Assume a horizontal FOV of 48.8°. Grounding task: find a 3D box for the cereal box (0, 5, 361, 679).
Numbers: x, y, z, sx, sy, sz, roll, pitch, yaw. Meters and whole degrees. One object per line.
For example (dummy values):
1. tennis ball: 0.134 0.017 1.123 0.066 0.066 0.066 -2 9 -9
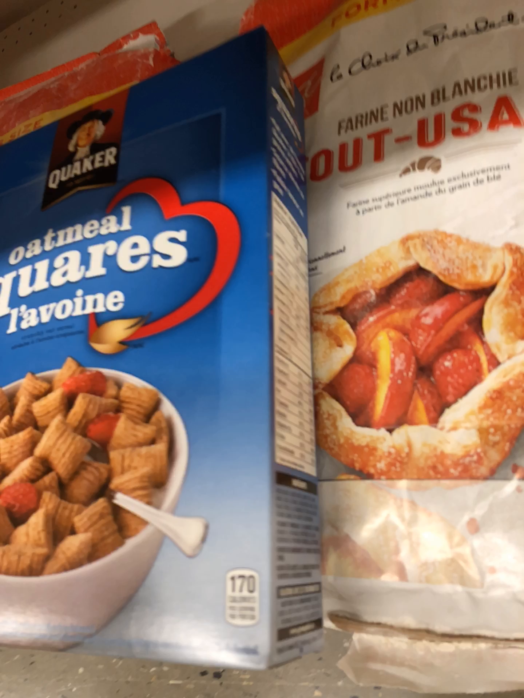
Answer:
1. cereal box: -0.069 -0.006 0.291 0.211 0.060 0.280 -11 65 25
